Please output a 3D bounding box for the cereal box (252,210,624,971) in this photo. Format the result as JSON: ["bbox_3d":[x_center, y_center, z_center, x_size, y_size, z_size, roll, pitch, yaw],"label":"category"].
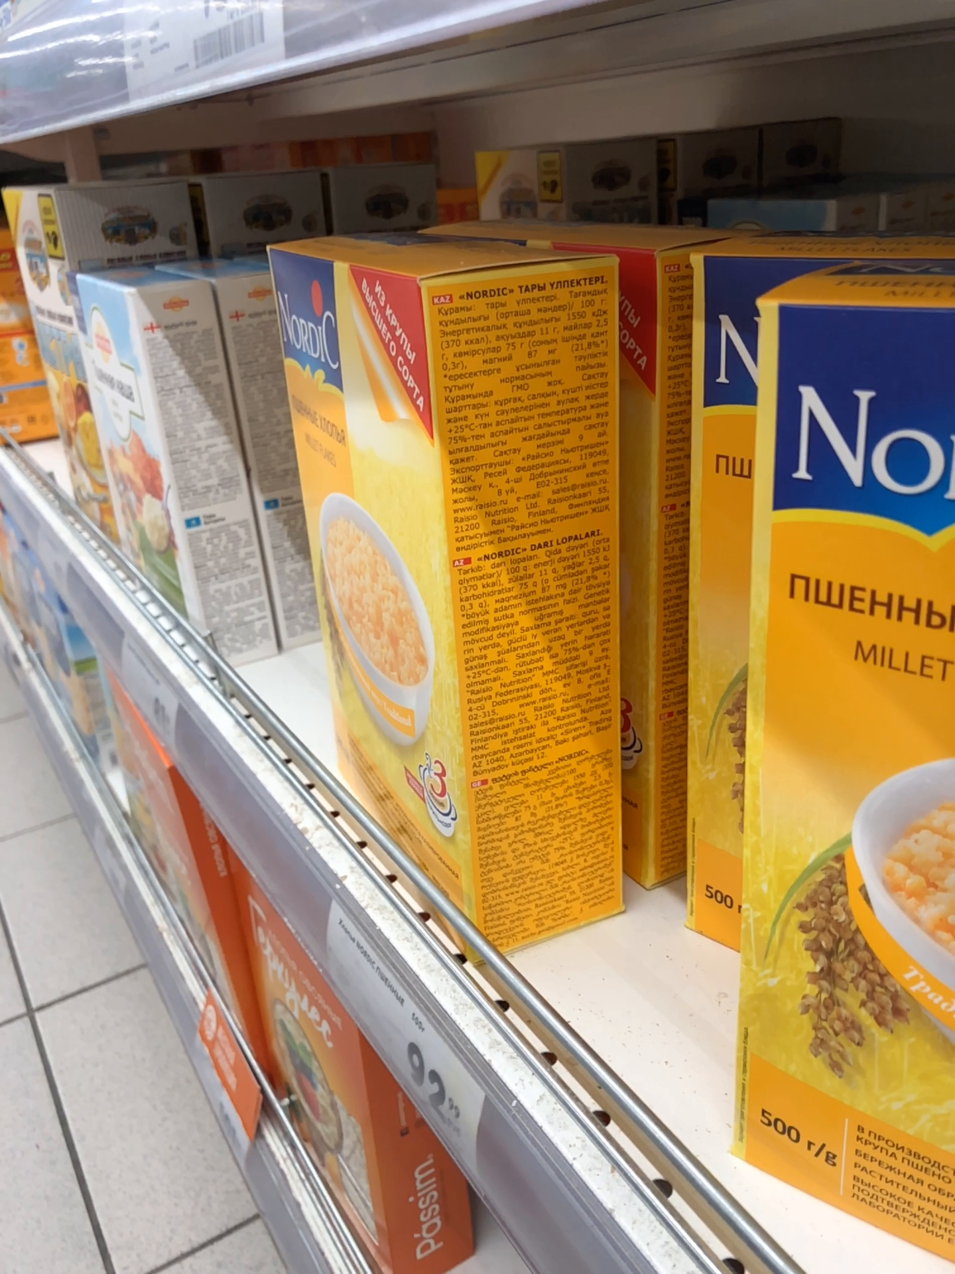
[{"bbox_3d":[-0.014,-0.025,0.351,0.060,0.209,0.141,-13,25,-20],"label":"cereal box"}]
